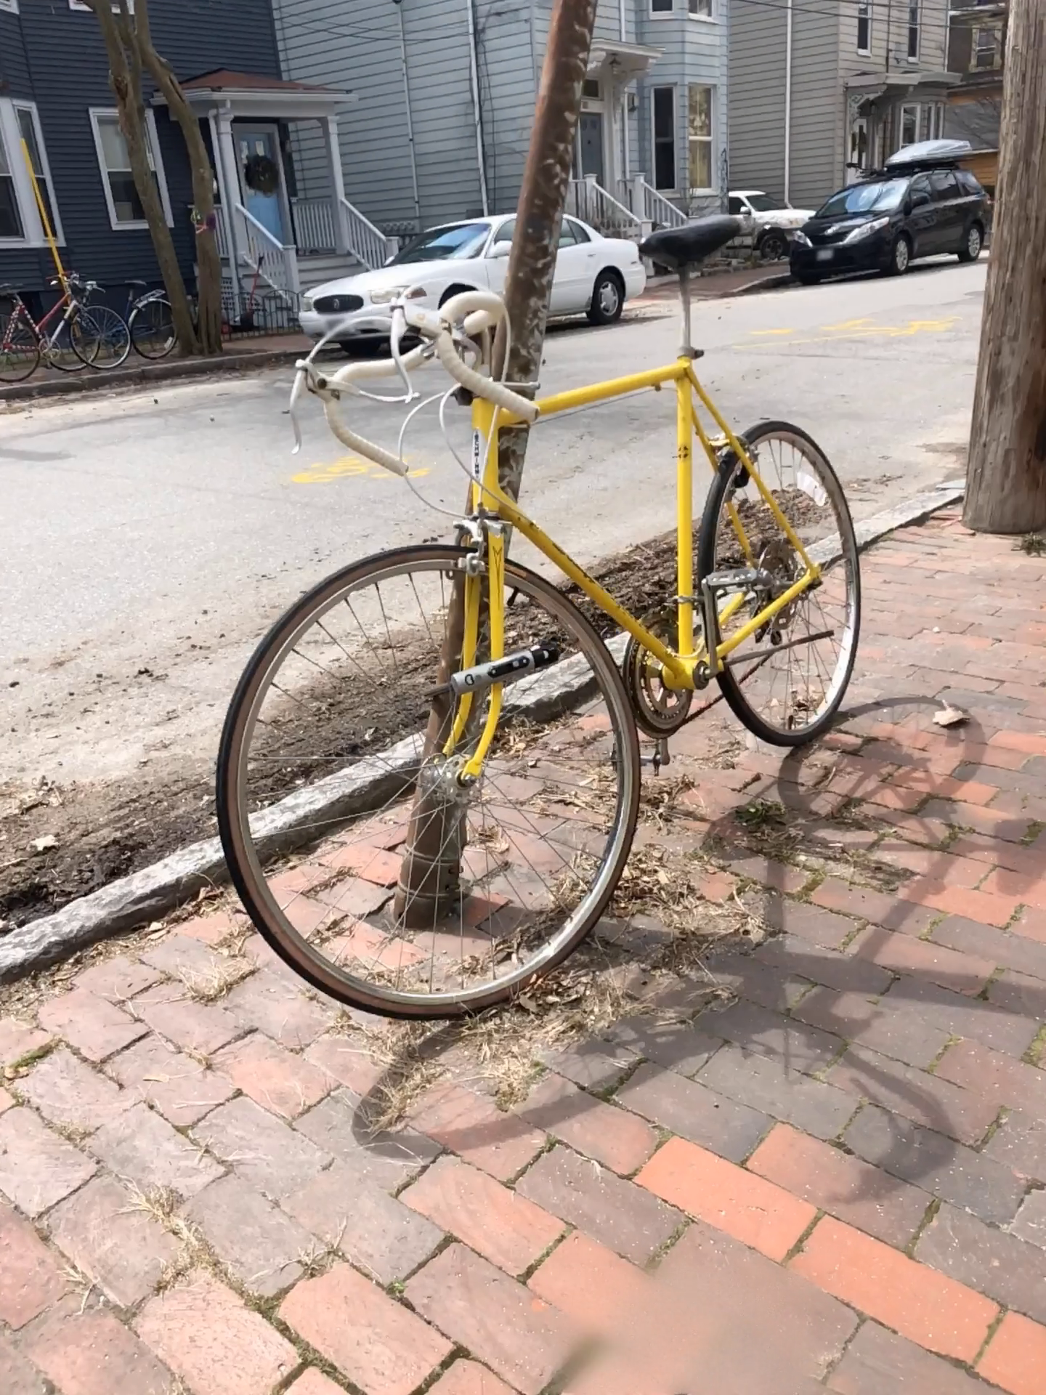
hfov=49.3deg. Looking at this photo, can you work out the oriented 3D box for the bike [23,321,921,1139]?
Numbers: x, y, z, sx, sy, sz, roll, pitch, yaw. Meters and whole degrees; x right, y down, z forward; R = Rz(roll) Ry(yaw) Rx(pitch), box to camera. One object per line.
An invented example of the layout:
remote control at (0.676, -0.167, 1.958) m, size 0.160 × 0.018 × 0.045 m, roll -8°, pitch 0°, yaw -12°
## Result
bike at (0.090, -0.137, 2.142) m, size 0.539 × 0.804 × 1.694 m, roll 15°, pitch 31°, yaw 40°
